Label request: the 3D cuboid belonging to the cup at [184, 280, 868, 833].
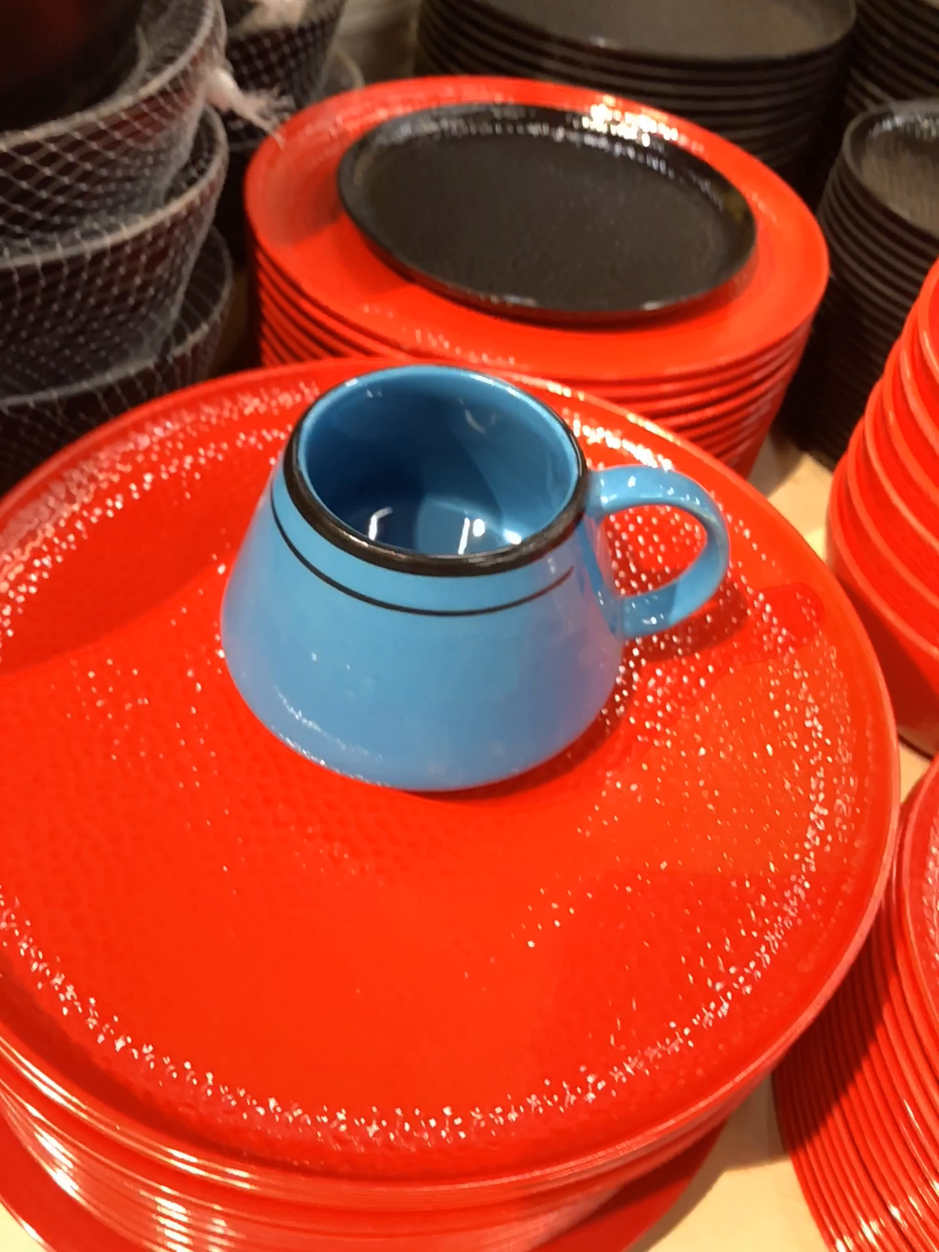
[{"bbox_3d":[0.004,-0.022,0.280,0.140,0.089,0.111,-2,48,-9],"label":"cup"}]
